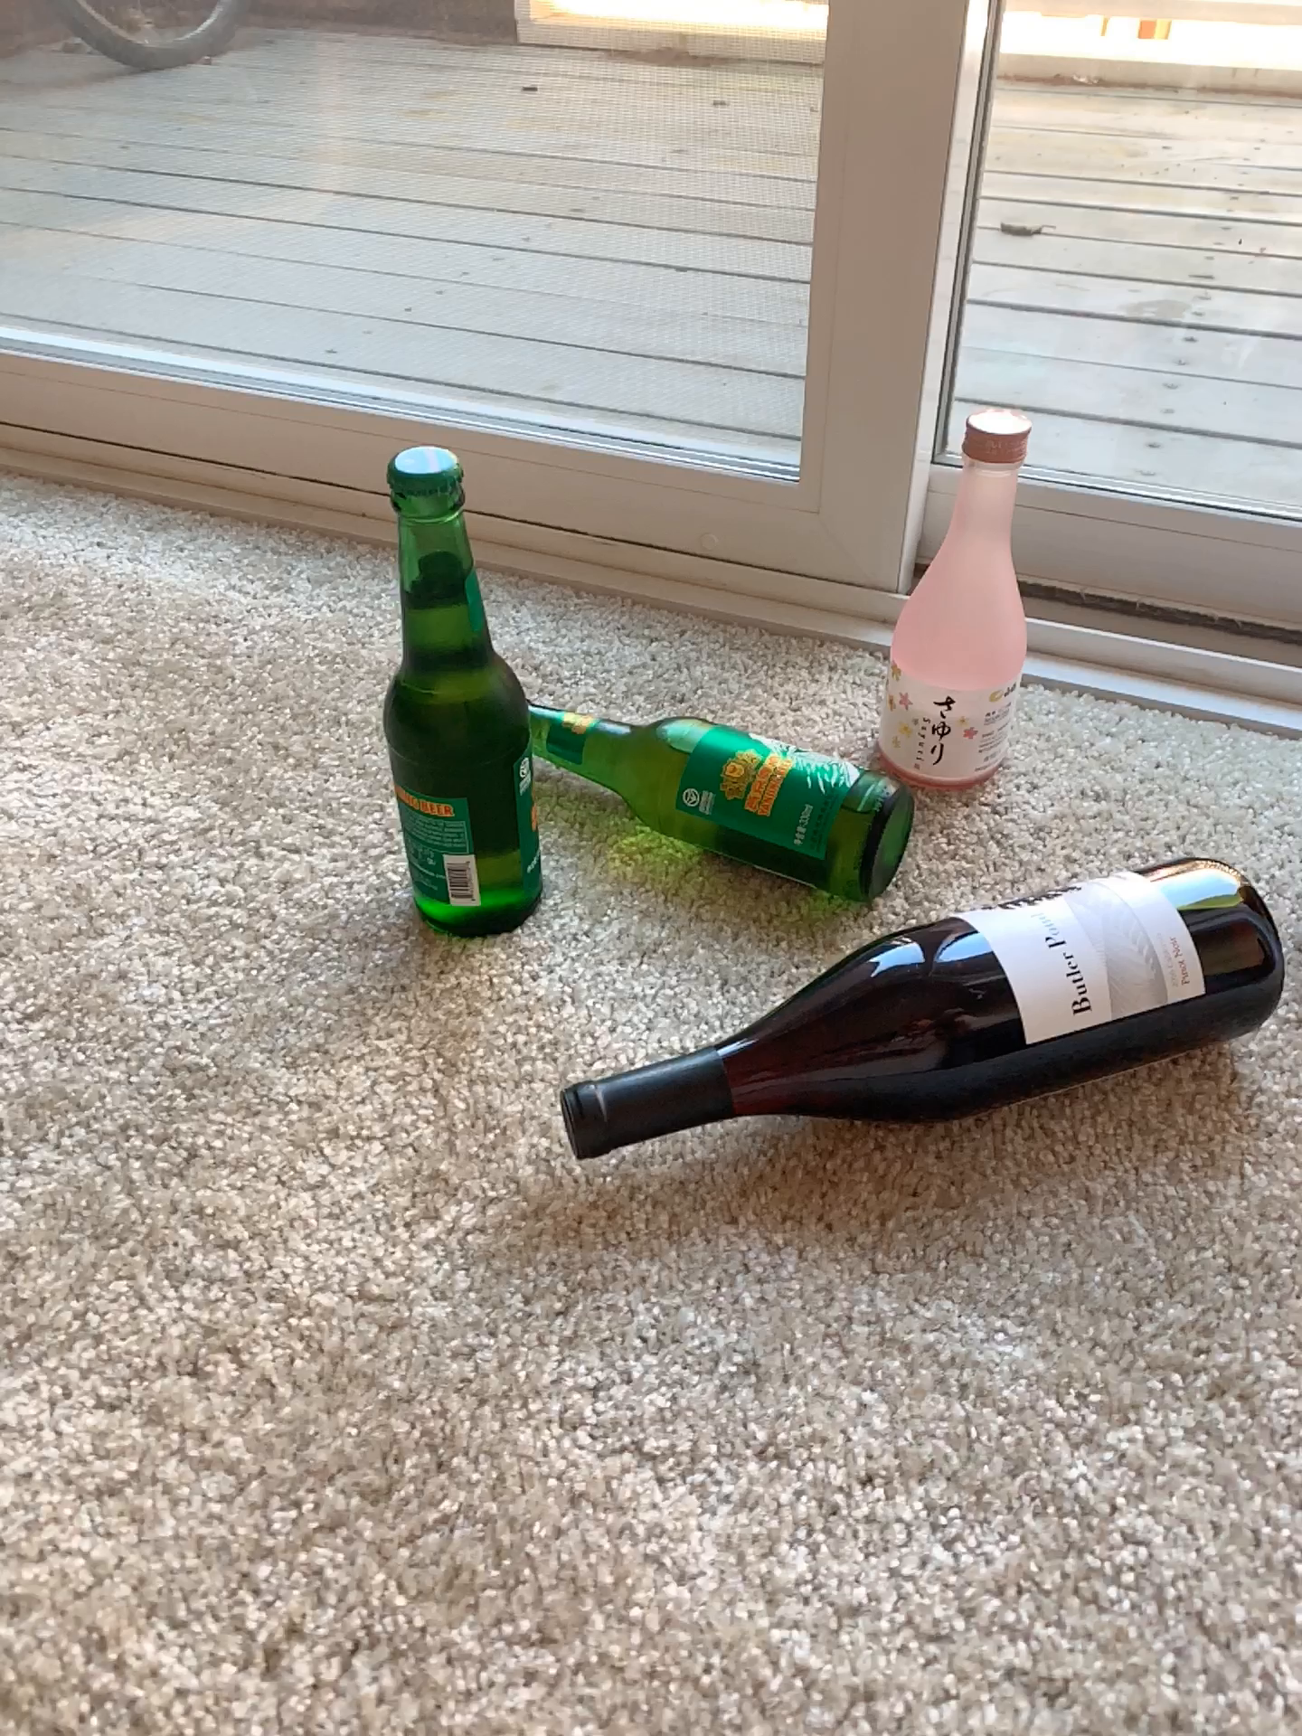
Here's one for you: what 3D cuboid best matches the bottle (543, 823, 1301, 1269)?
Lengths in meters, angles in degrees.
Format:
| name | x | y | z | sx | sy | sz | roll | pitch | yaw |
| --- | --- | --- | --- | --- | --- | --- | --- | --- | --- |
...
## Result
| name | x | y | z | sx | sy | sz | roll | pitch | yaw |
| --- | --- | --- | --- | --- | --- | --- | --- | --- | --- |
| bottle | 0.111 | 0.059 | 0.495 | 0.290 | 0.060 | 0.070 | -13 | 42 | -15 |

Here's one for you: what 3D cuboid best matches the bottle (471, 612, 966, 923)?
| name | x | y | z | sx | sy | sz | roll | pitch | yaw |
| --- | --- | --- | --- | --- | --- | --- | --- | --- | --- |
| bottle | 0.027 | -0.054 | 0.642 | 0.231 | 0.060 | 0.060 | 21 | 45 | 24 |

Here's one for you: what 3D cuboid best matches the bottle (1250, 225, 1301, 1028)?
| name | x | y | z | sx | sy | sz | roll | pitch | yaw |
| --- | --- | --- | --- | --- | --- | --- | --- | --- | --- |
| bottle | 0.335 | -0.078 | 0.517 | 0.080 | 0.288 | 0.091 | -12 | 41 | -13 |

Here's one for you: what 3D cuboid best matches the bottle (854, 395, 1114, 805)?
| name | x | y | z | sx | sy | sz | roll | pitch | yaw |
| --- | --- | --- | --- | --- | --- | --- | --- | --- | --- |
| bottle | 0.155 | -0.128 | 0.649 | 0.070 | 0.169 | 0.081 | -12 | 41 | -13 |

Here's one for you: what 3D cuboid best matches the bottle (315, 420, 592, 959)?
| name | x | y | z | sx | sy | sz | roll | pitch | yaw |
| --- | --- | --- | --- | --- | --- | --- | --- | --- | --- |
| bottle | -0.078 | -0.069 | 0.556 | 0.080 | 0.199 | 0.081 | -1 | 40 | 0 |
